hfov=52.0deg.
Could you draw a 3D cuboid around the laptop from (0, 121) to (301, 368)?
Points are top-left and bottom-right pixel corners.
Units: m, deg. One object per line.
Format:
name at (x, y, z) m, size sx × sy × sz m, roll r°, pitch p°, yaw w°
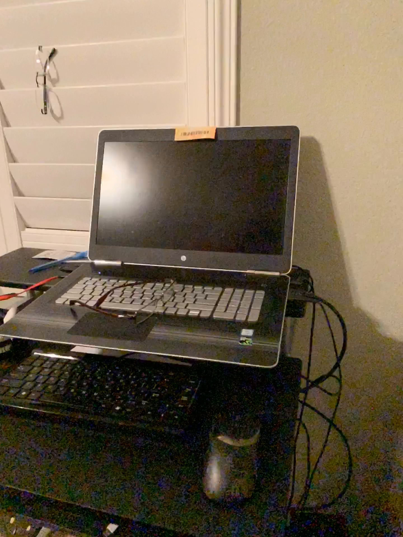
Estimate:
laptop at (-0.062, -0.095, 0.733) m, size 0.433 × 0.263 × 0.421 m, roll 4°, pitch 23°, yaw 15°
